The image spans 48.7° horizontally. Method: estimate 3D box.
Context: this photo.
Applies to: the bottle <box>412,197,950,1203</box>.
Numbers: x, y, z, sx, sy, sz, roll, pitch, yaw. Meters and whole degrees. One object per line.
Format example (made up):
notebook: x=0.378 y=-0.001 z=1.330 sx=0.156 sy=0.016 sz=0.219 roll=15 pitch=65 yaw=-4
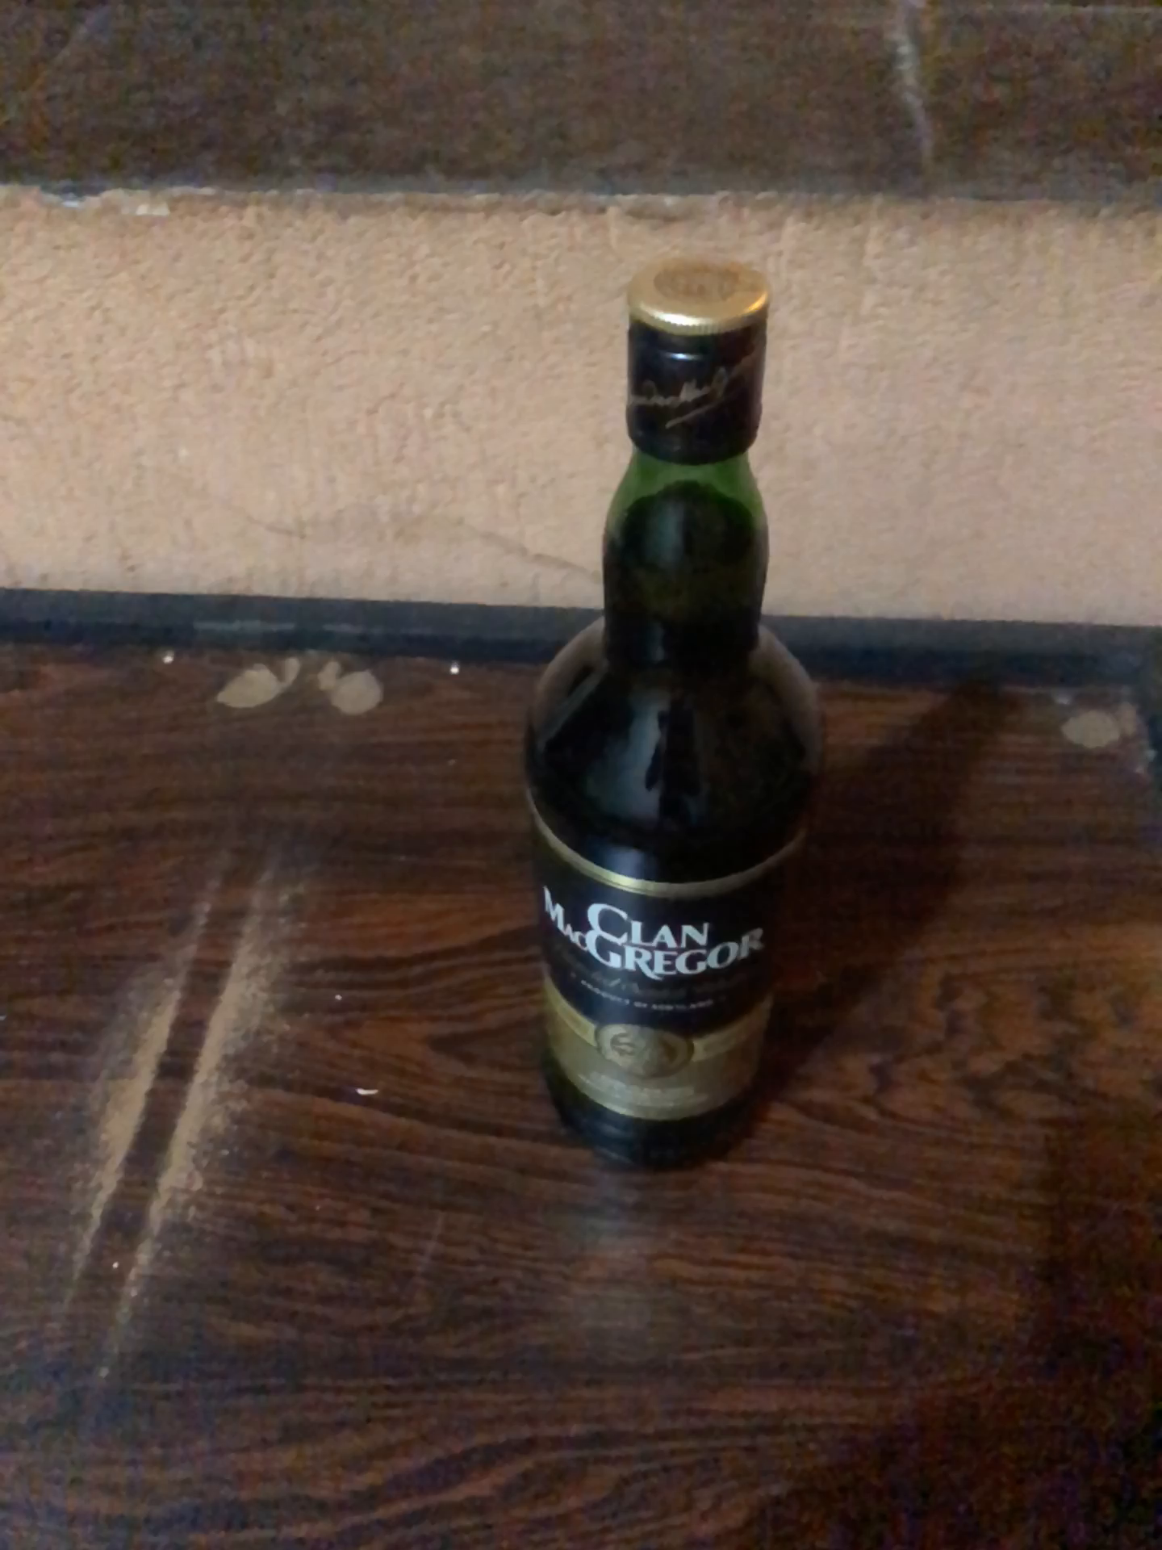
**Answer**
bottle: x=0.028 y=0.012 z=0.361 sx=0.090 sy=0.308 sz=0.081 roll=8 pitch=50 yaw=10
